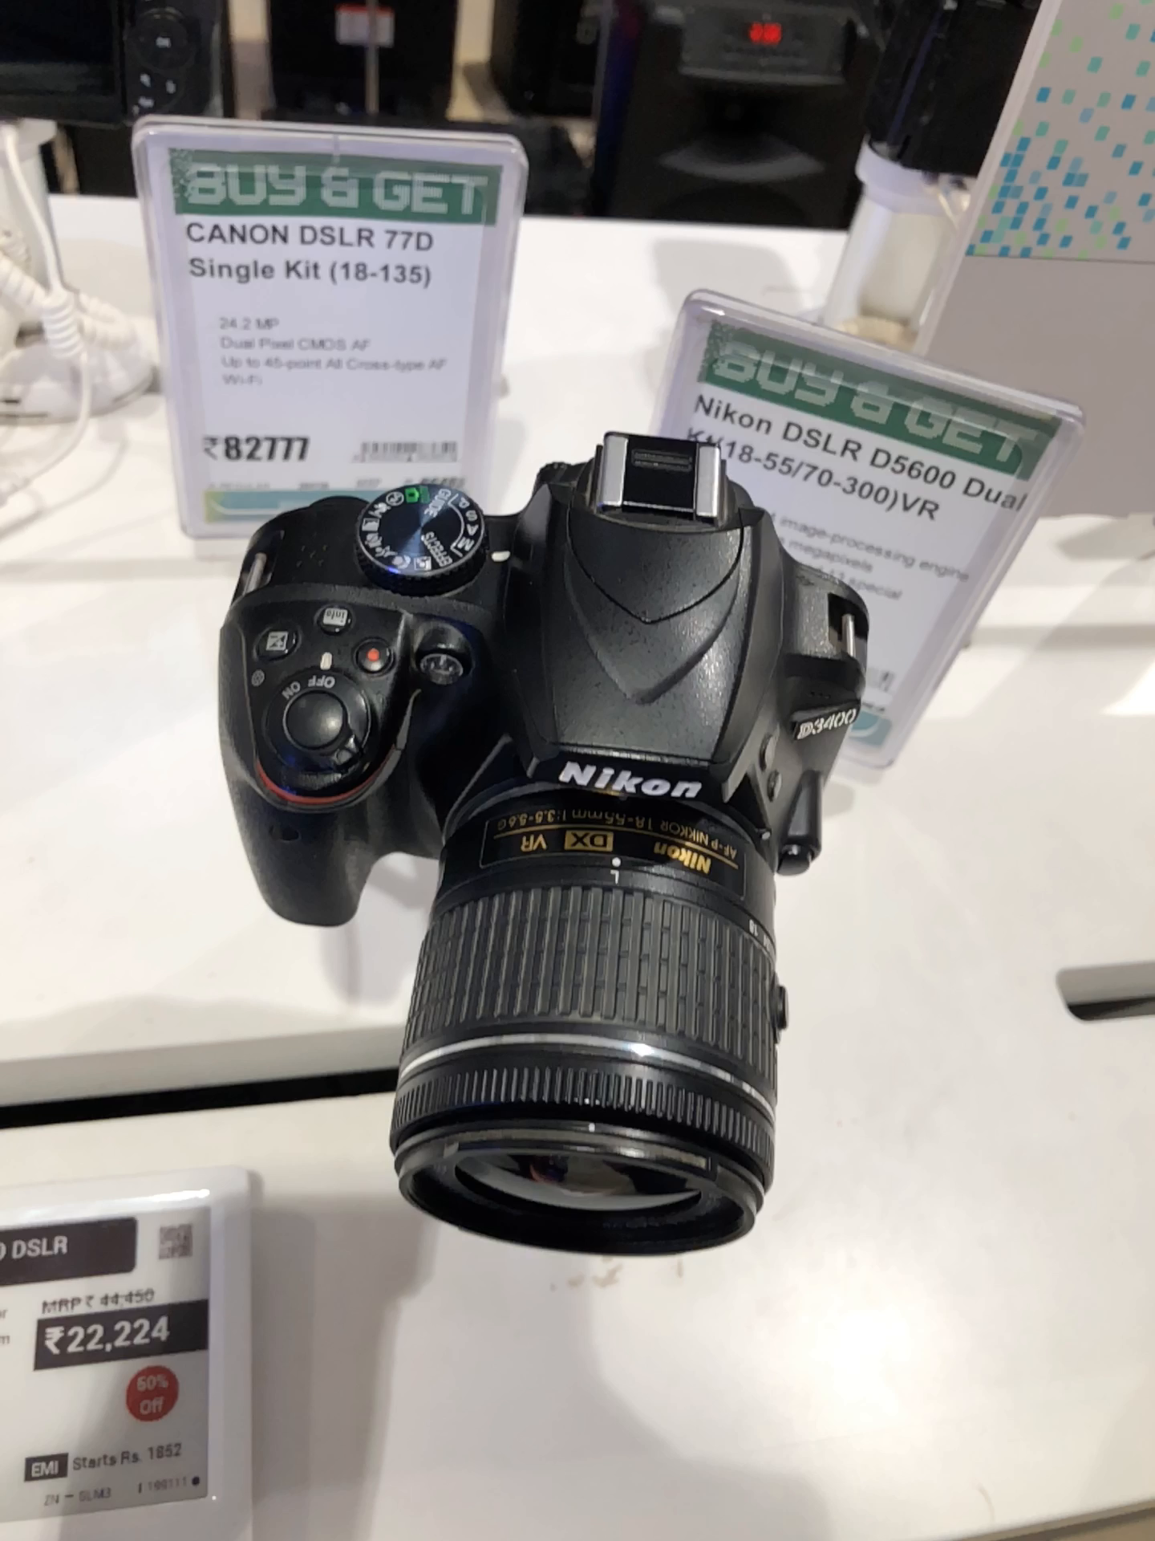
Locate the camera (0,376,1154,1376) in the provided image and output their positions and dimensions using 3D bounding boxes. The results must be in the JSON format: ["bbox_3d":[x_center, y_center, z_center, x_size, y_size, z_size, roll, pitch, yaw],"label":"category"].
[{"bbox_3d":[0.000,0.019,0.210,0.130,0.090,0.121,6,52,-5],"label":"camera"}]
